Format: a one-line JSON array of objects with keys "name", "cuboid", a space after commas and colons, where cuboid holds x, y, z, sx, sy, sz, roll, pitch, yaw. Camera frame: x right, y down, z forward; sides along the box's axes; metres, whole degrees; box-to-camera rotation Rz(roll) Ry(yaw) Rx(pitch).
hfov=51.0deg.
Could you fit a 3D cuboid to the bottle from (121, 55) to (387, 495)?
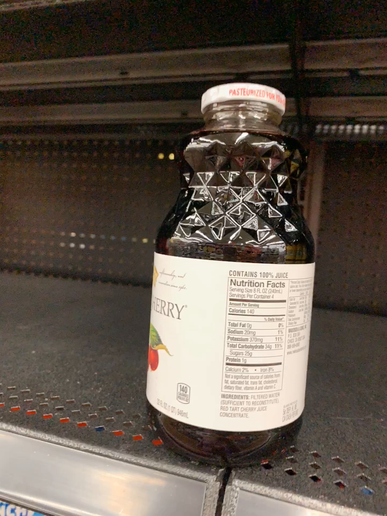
[{"name": "bottle", "cuboid": [0.029, 0.006, 0.240, 0.110, 0.200, 0.100, 4, 4, 0]}]
